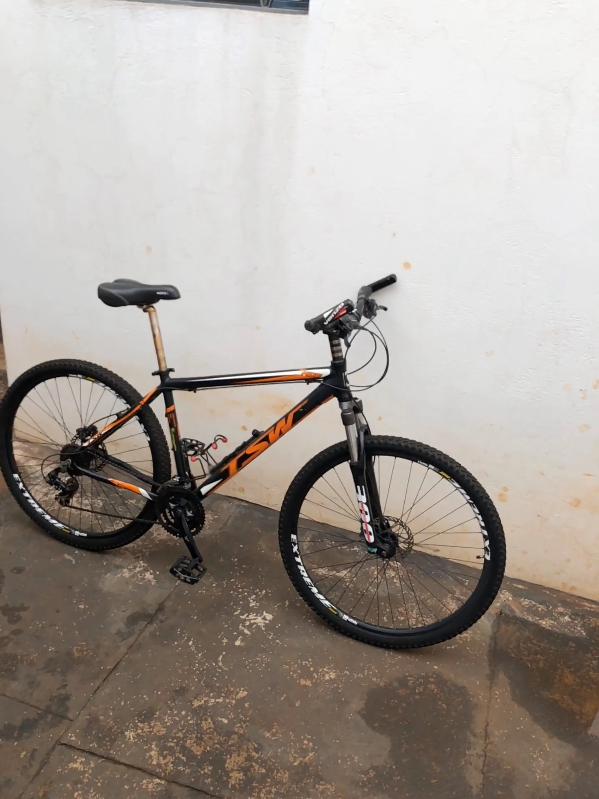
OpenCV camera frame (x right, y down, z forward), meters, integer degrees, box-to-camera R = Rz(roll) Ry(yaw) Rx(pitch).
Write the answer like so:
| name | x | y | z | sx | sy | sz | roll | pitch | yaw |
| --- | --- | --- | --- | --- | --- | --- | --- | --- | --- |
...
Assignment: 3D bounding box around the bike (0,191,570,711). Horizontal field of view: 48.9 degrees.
| name | x | y | z | sx | sy | sz | roll | pitch | yaw |
| --- | --- | --- | --- | --- | --- | --- | --- | --- | --- |
| bike | -0.215 | 0.053 | 2.126 | 1.763 | 1.084 | 0.726 | 12 | 27 | 14 |
